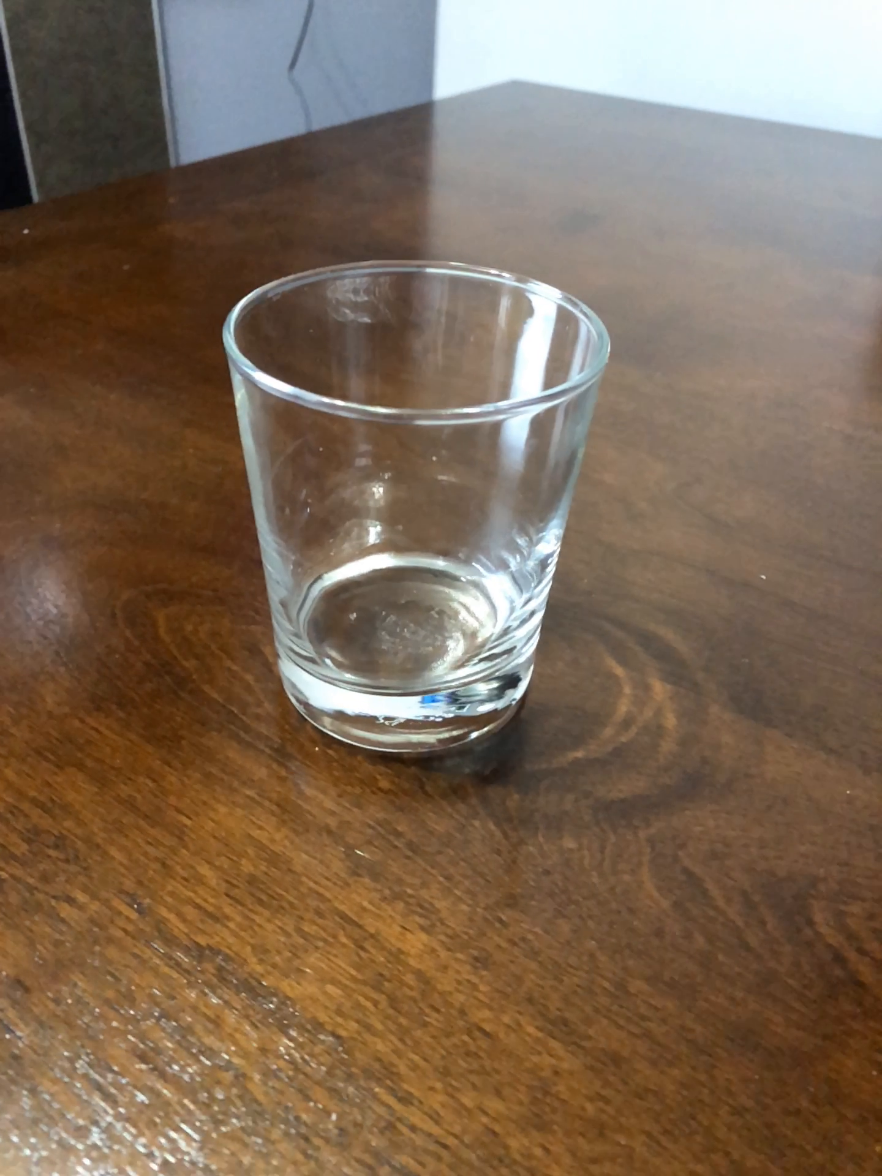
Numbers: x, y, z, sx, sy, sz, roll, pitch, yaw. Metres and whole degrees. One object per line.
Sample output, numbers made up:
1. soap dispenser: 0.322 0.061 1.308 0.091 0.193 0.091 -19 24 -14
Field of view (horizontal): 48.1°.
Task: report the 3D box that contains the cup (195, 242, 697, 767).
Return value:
1. cup: -0.004 -0.023 0.239 0.090 0.090 0.090 2 36 -2
